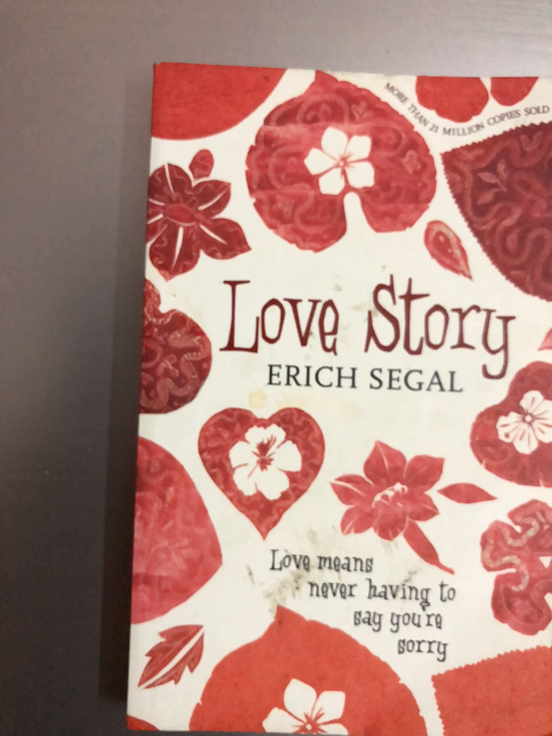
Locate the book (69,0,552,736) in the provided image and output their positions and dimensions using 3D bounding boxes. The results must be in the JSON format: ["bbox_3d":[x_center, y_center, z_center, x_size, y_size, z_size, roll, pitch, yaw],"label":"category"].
[{"bbox_3d":[0.013,0.001,0.170,0.120,0.030,0.180,2,87,-3],"label":"book"}]
